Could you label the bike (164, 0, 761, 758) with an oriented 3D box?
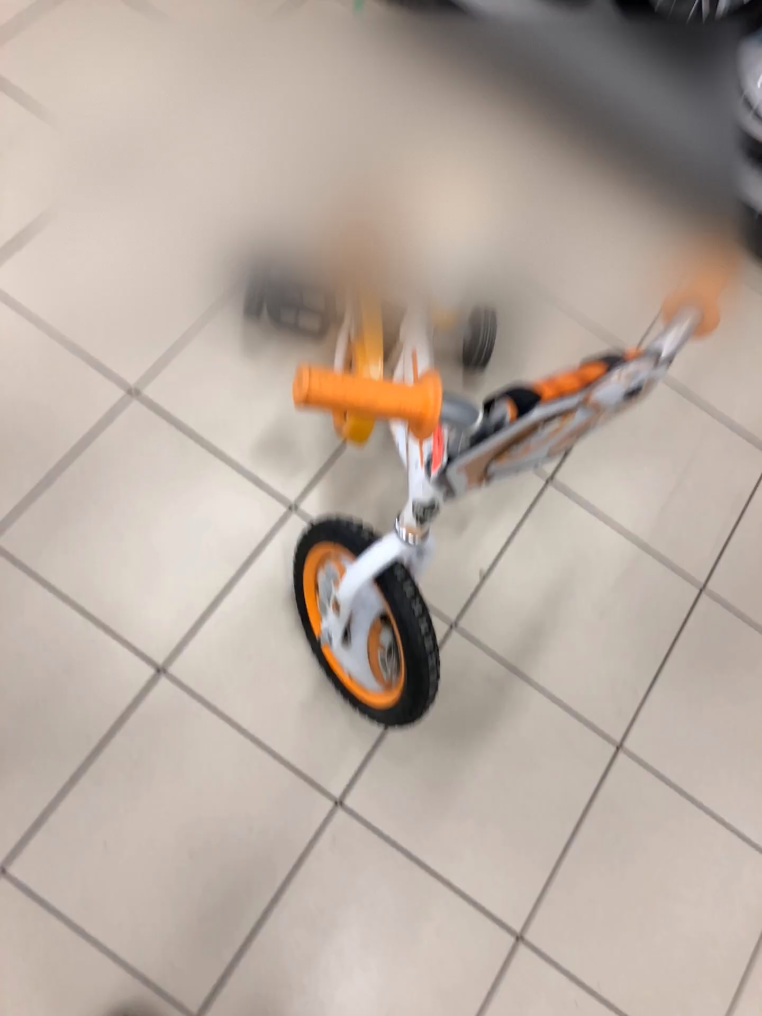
[{"bbox_3d":[0.022,-0.178,0.984,0.435,0.716,0.816,2,72,-11],"label":"bike"}]
